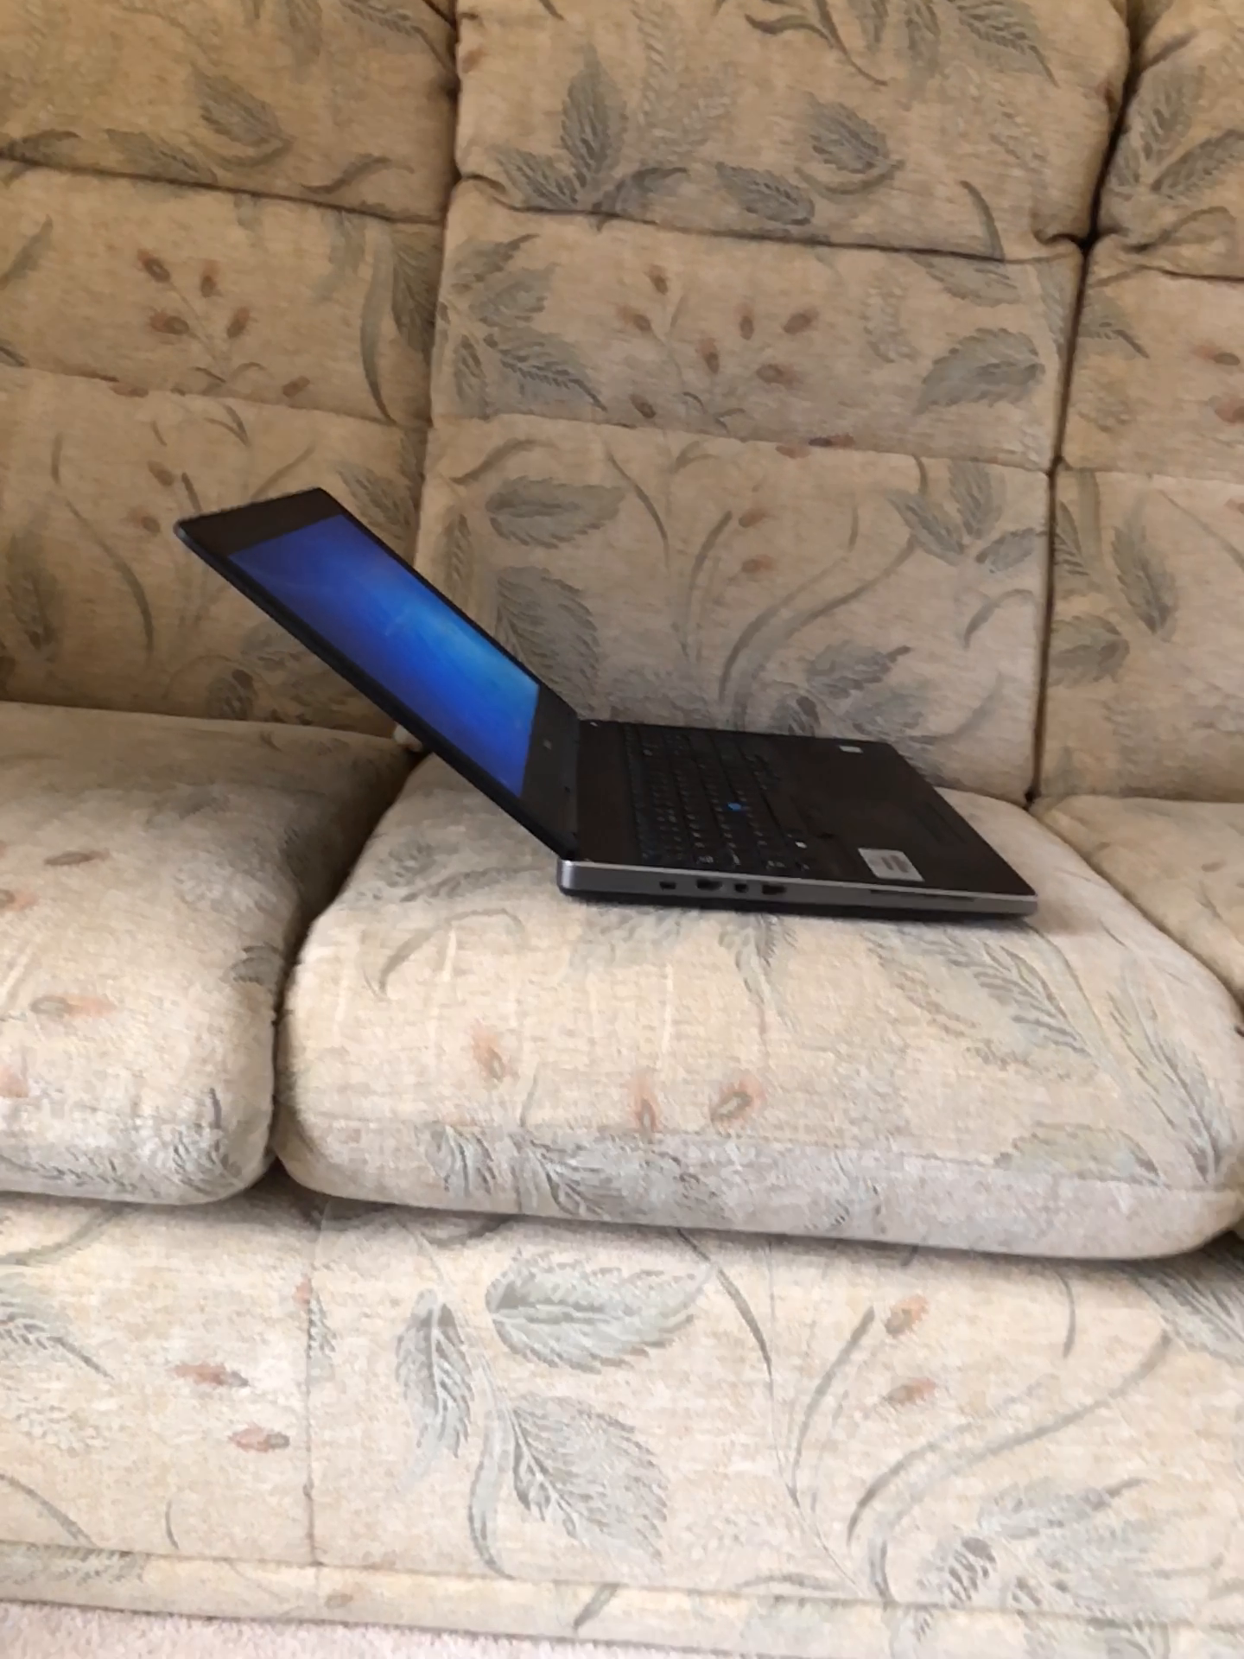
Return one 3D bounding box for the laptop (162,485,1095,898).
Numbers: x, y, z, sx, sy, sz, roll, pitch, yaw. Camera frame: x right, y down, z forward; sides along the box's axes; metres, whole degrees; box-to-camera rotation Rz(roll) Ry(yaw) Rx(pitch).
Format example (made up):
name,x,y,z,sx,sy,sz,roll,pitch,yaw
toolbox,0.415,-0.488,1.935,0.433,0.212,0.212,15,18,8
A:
name,x,y,z,sx,sy,sz,roll,pitch,yaw
laptop,-0.005,-0.106,0.862,0.451,0.157,0.357,4,18,-2
